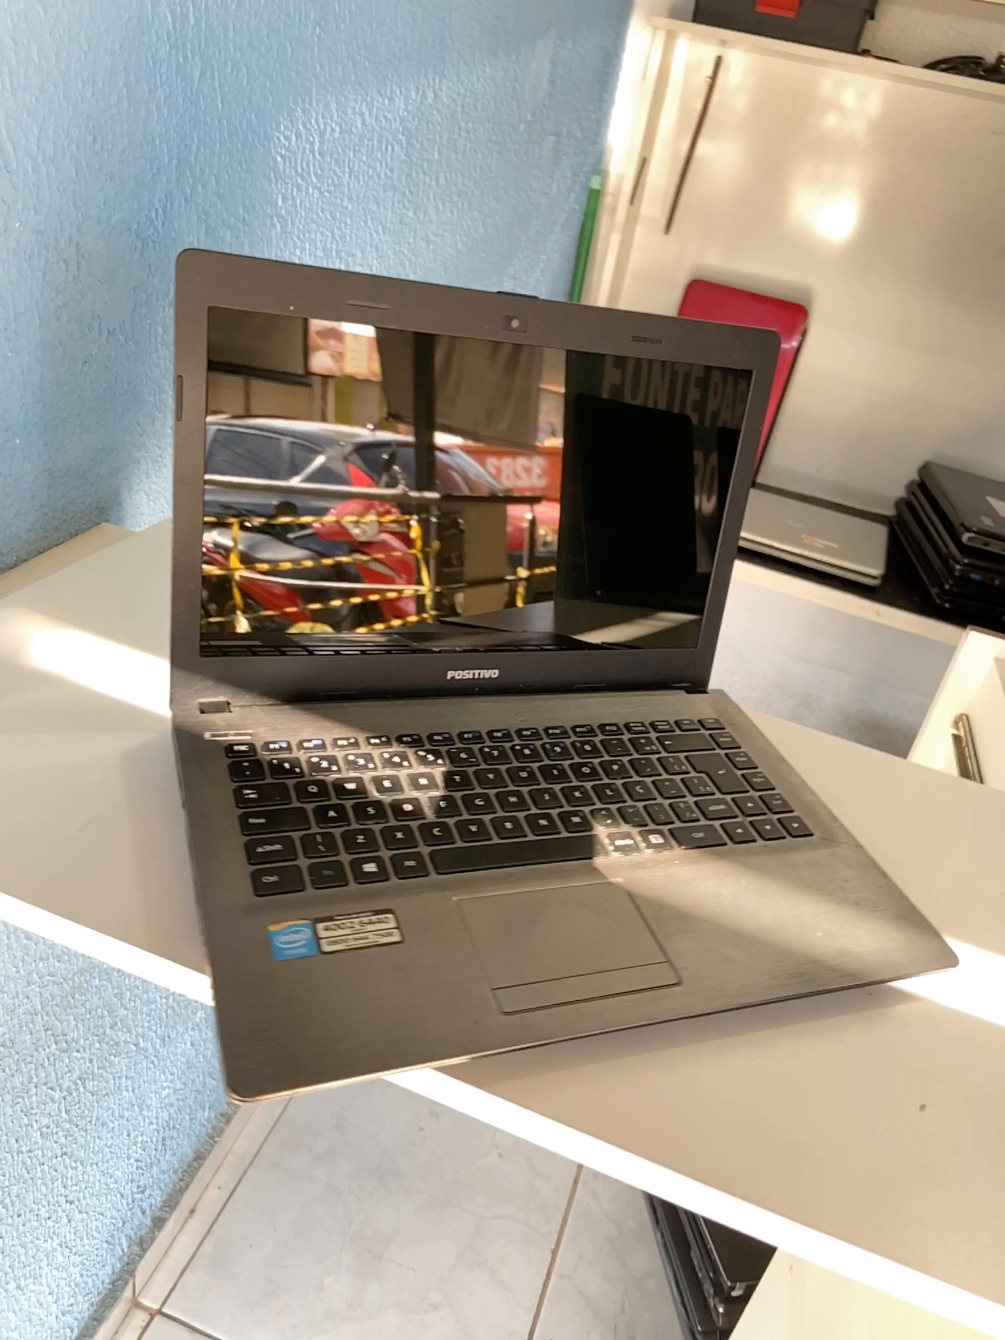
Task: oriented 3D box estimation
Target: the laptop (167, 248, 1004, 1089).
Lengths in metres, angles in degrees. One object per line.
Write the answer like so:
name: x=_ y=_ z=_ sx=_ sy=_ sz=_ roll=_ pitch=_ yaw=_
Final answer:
laptop: x=0.033 y=-0.028 z=0.479 sx=0.335 sy=0.211 sz=0.284 roll=-1 pitch=32 yaw=-23
